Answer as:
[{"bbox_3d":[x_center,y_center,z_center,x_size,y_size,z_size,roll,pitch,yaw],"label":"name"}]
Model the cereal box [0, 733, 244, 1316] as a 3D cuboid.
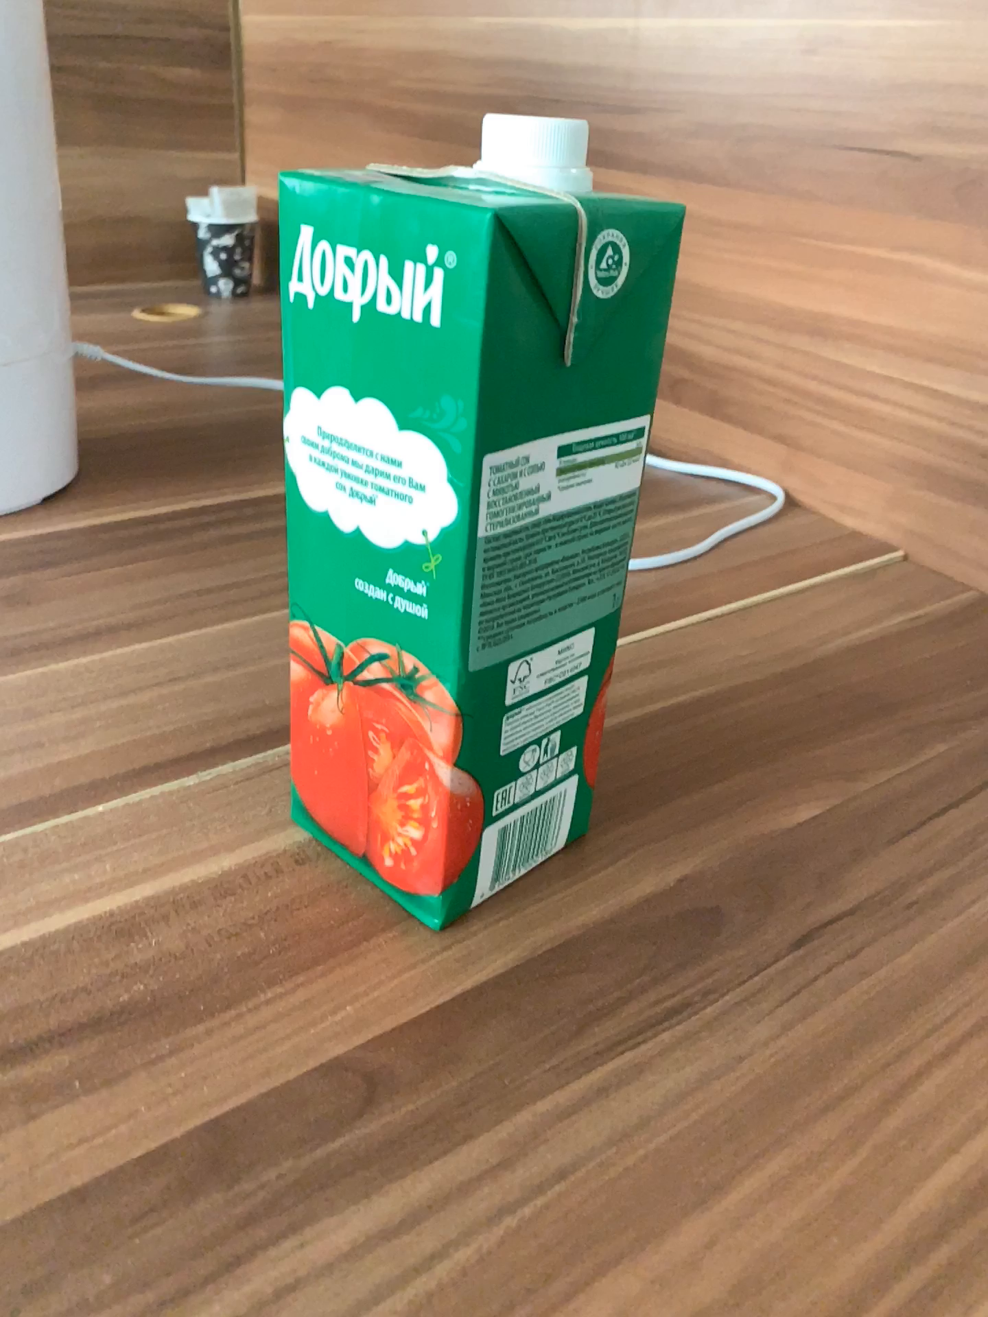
[{"bbox_3d":[-0.504,0.589,0.287,0.590,0.836,0.613,11,30,11],"label":"cereal box"}]
